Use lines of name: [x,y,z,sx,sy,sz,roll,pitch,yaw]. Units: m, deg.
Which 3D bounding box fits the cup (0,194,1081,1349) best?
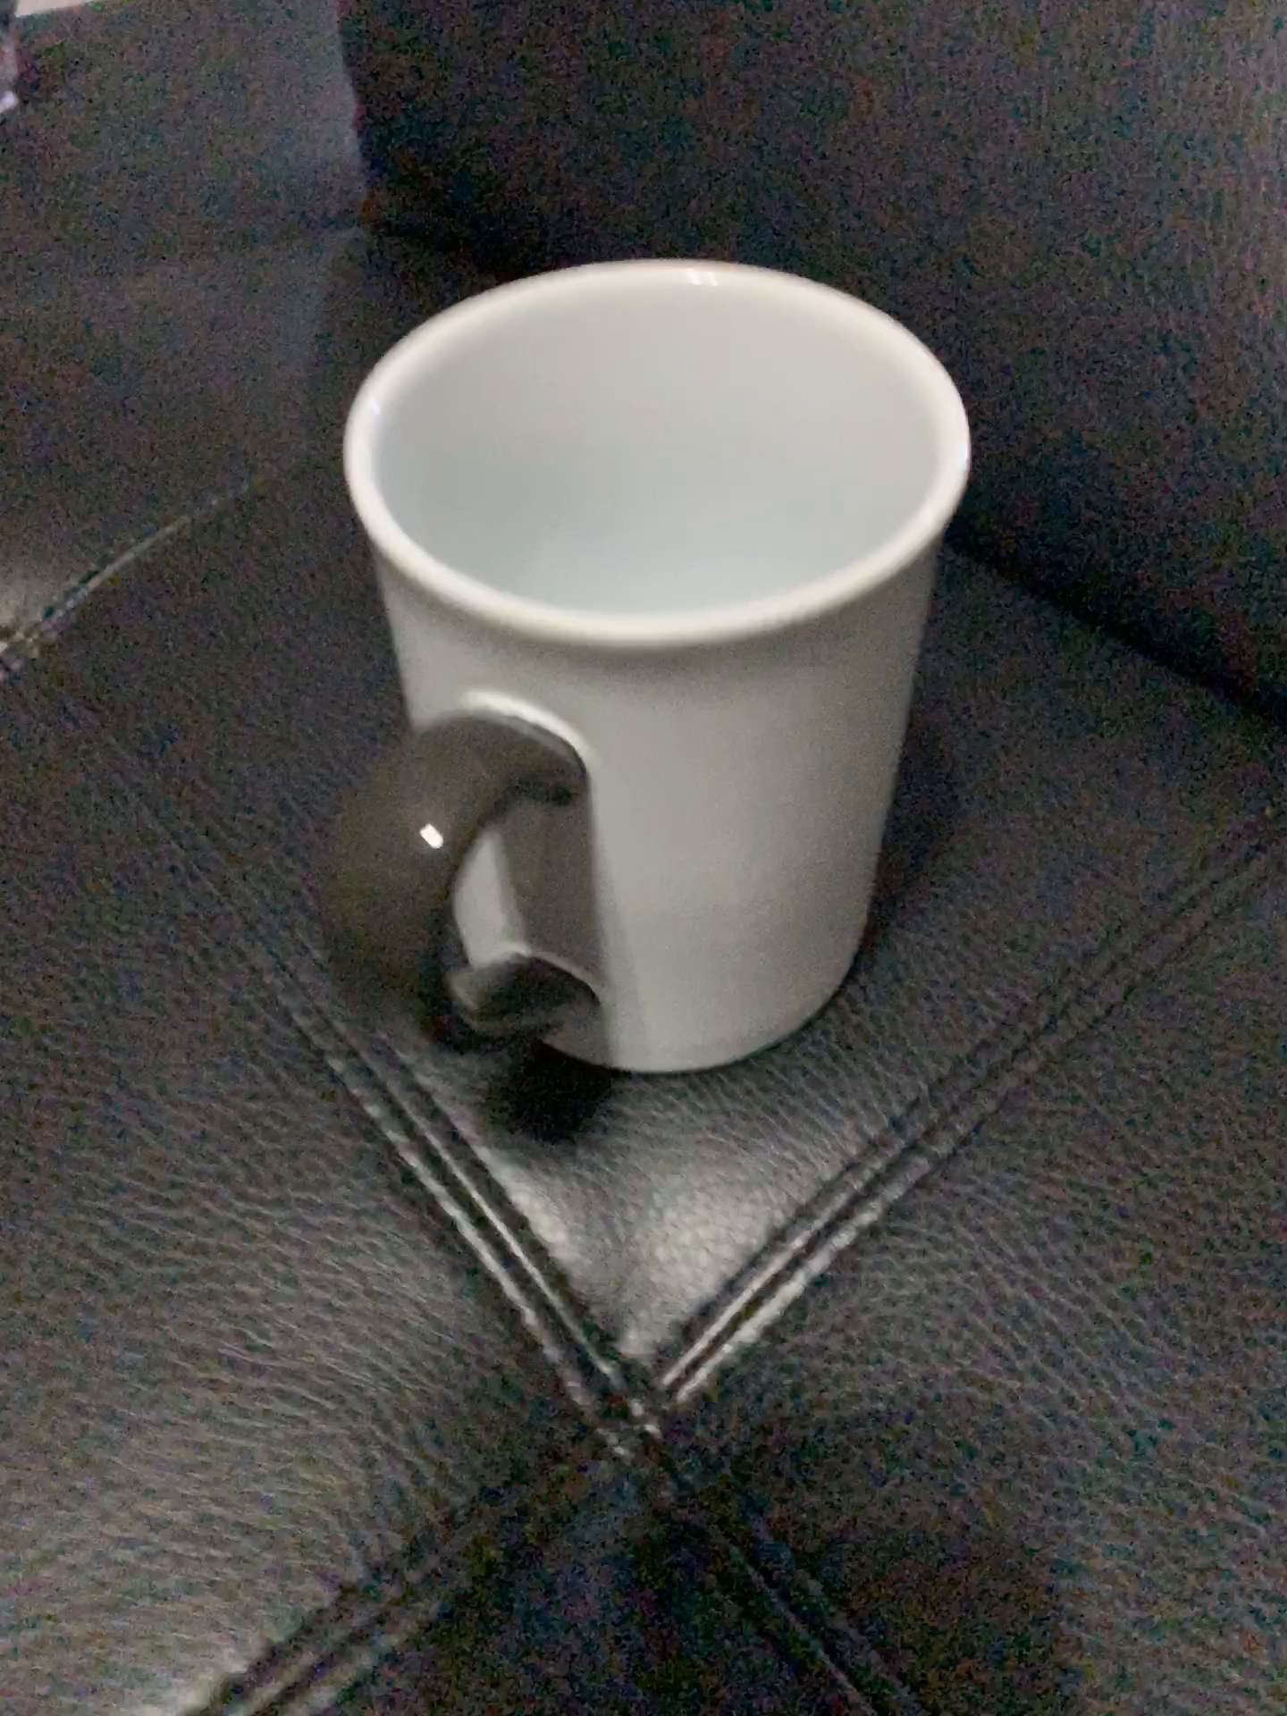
cup: [-0.005,-0.019,0.220,0.093,0.115,0.124,22,51,19]
